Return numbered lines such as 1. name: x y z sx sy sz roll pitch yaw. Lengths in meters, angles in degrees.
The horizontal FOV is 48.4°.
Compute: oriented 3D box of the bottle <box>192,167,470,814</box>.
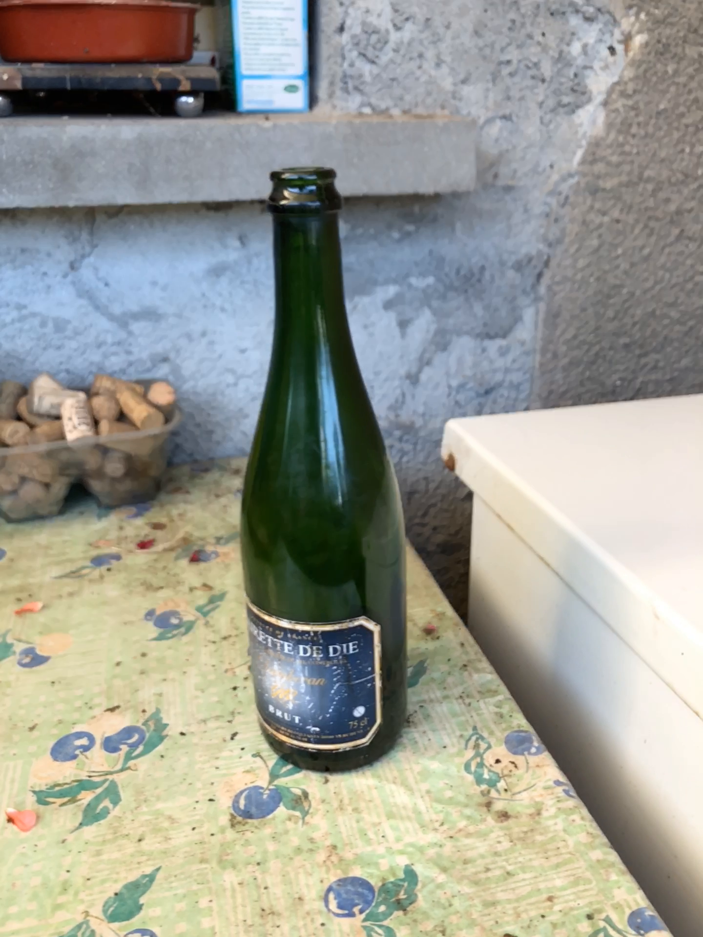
1. bottle: -0.006 0.014 0.400 0.090 0.308 0.080 16 29 35
